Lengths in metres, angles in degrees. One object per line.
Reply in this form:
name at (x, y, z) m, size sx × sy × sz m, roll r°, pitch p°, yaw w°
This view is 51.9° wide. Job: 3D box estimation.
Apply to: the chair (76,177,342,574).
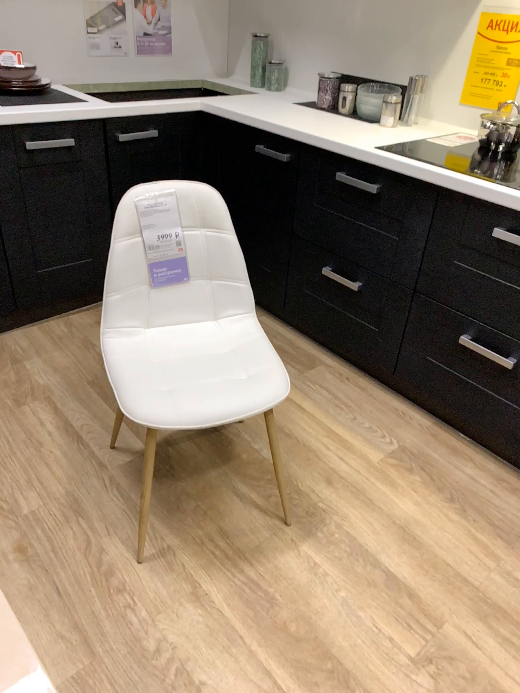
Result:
chair at (-0.180, 0.051, 1.437) m, size 0.471 × 0.825 × 0.573 m, roll -8°, pitch 35°, yaw -18°
